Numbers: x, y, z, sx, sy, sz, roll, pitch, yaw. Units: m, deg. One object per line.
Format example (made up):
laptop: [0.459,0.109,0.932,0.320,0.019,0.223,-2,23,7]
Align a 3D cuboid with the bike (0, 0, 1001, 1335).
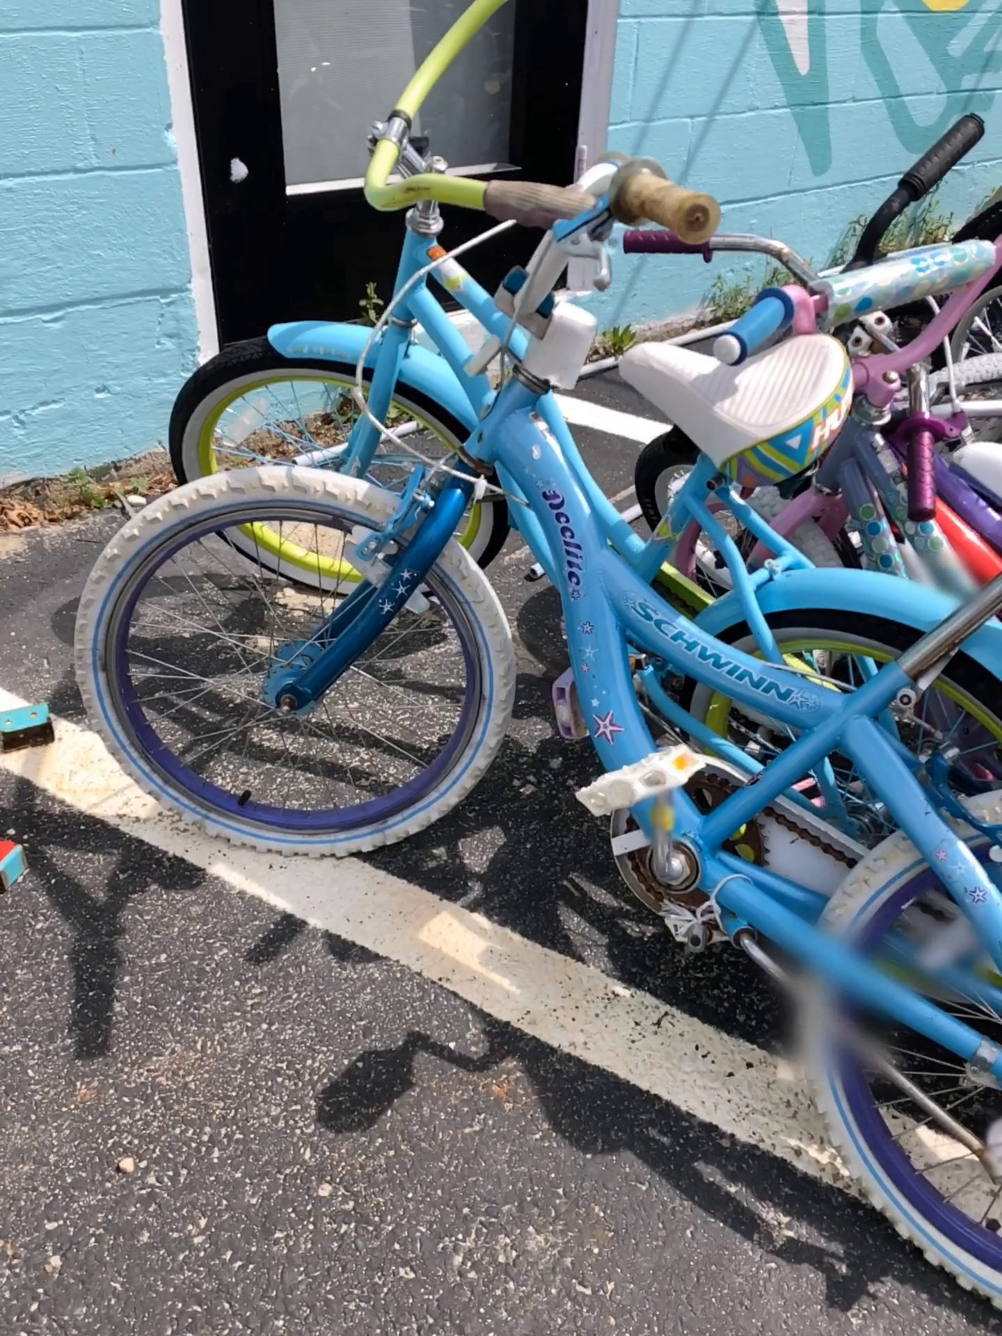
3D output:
bike: [0.229,-0.089,0.962,1.266,0.777,0.558,24,40,19]
